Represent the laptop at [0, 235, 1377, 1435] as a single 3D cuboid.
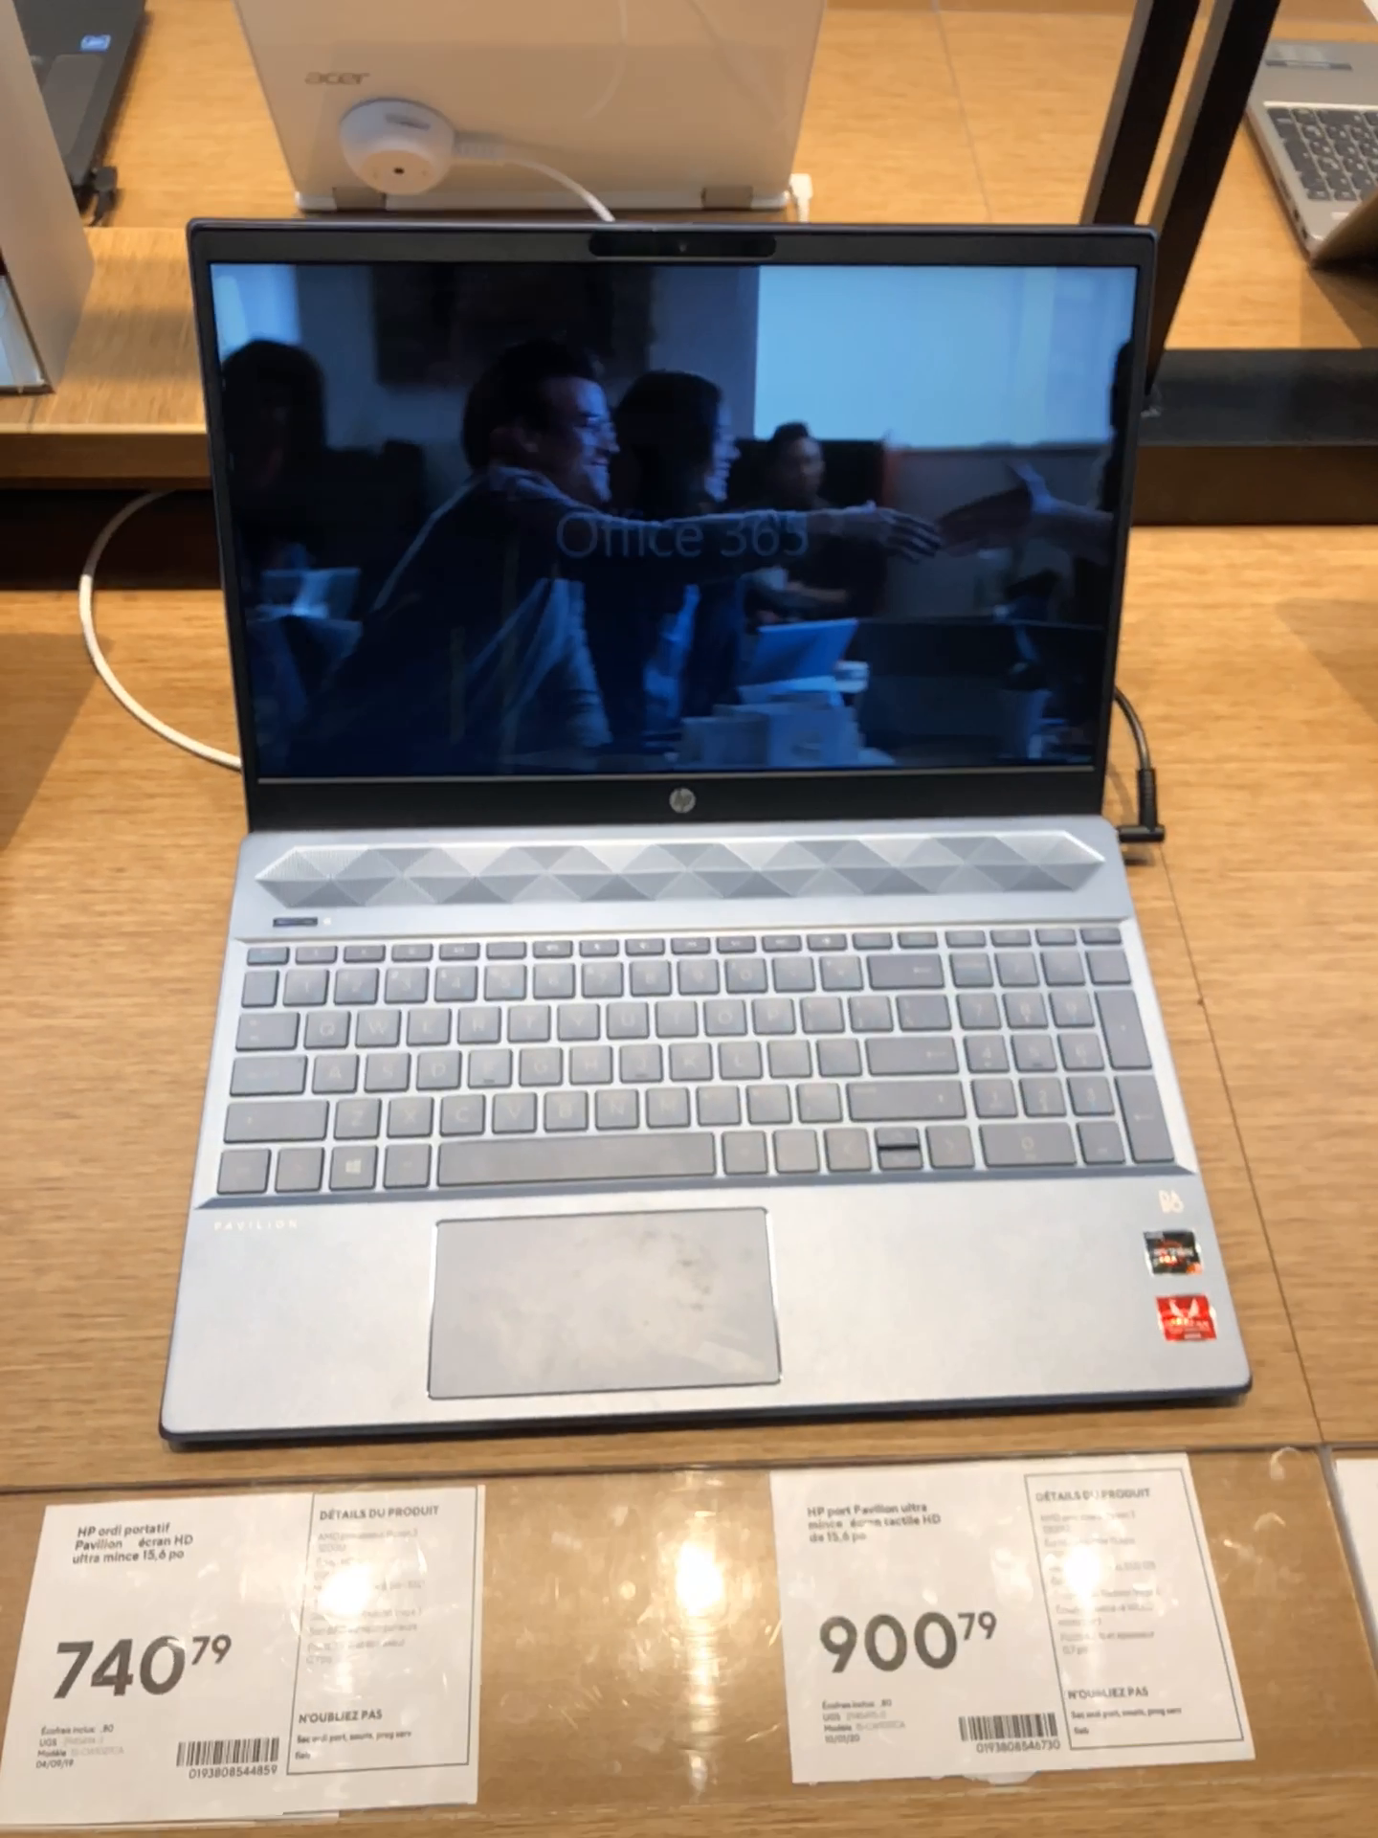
[{"bbox_3d":[0.000,-0.042,0.513,0.338,0.185,0.356,-1,55,-4],"label":"laptop"}]
